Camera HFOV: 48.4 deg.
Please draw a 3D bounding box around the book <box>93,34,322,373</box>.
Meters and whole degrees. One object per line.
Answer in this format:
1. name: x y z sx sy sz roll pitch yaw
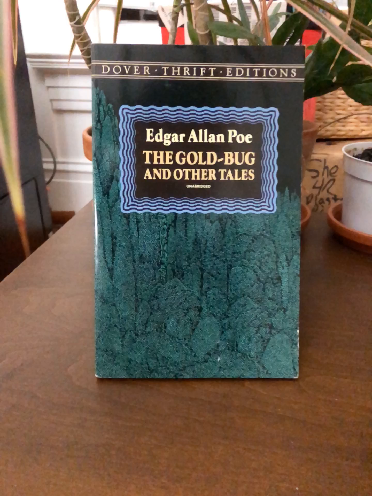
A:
1. book: 0.013 -0.026 0.268 0.140 0.210 0.020 0 3 -1
